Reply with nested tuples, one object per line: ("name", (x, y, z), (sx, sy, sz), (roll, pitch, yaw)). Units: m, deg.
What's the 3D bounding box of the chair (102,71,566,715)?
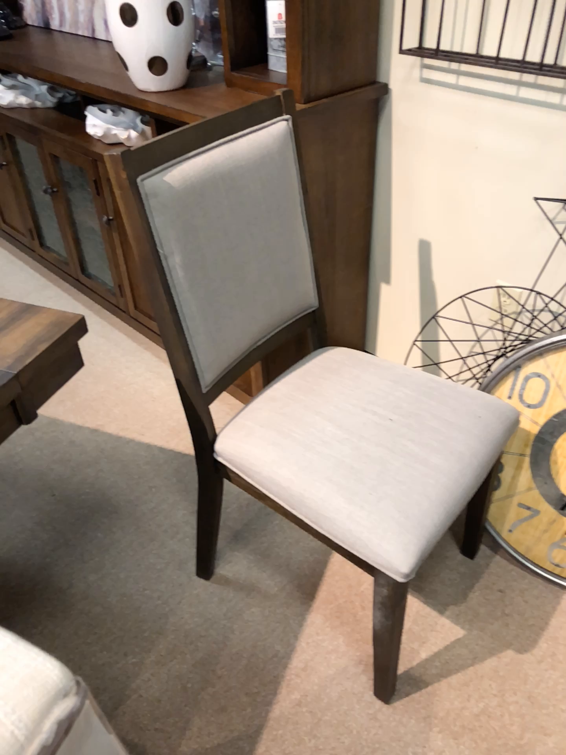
("chair", (0.122, 0.034, 1.085), (0.492, 0.923, 0.462), (23, 45, 30))
